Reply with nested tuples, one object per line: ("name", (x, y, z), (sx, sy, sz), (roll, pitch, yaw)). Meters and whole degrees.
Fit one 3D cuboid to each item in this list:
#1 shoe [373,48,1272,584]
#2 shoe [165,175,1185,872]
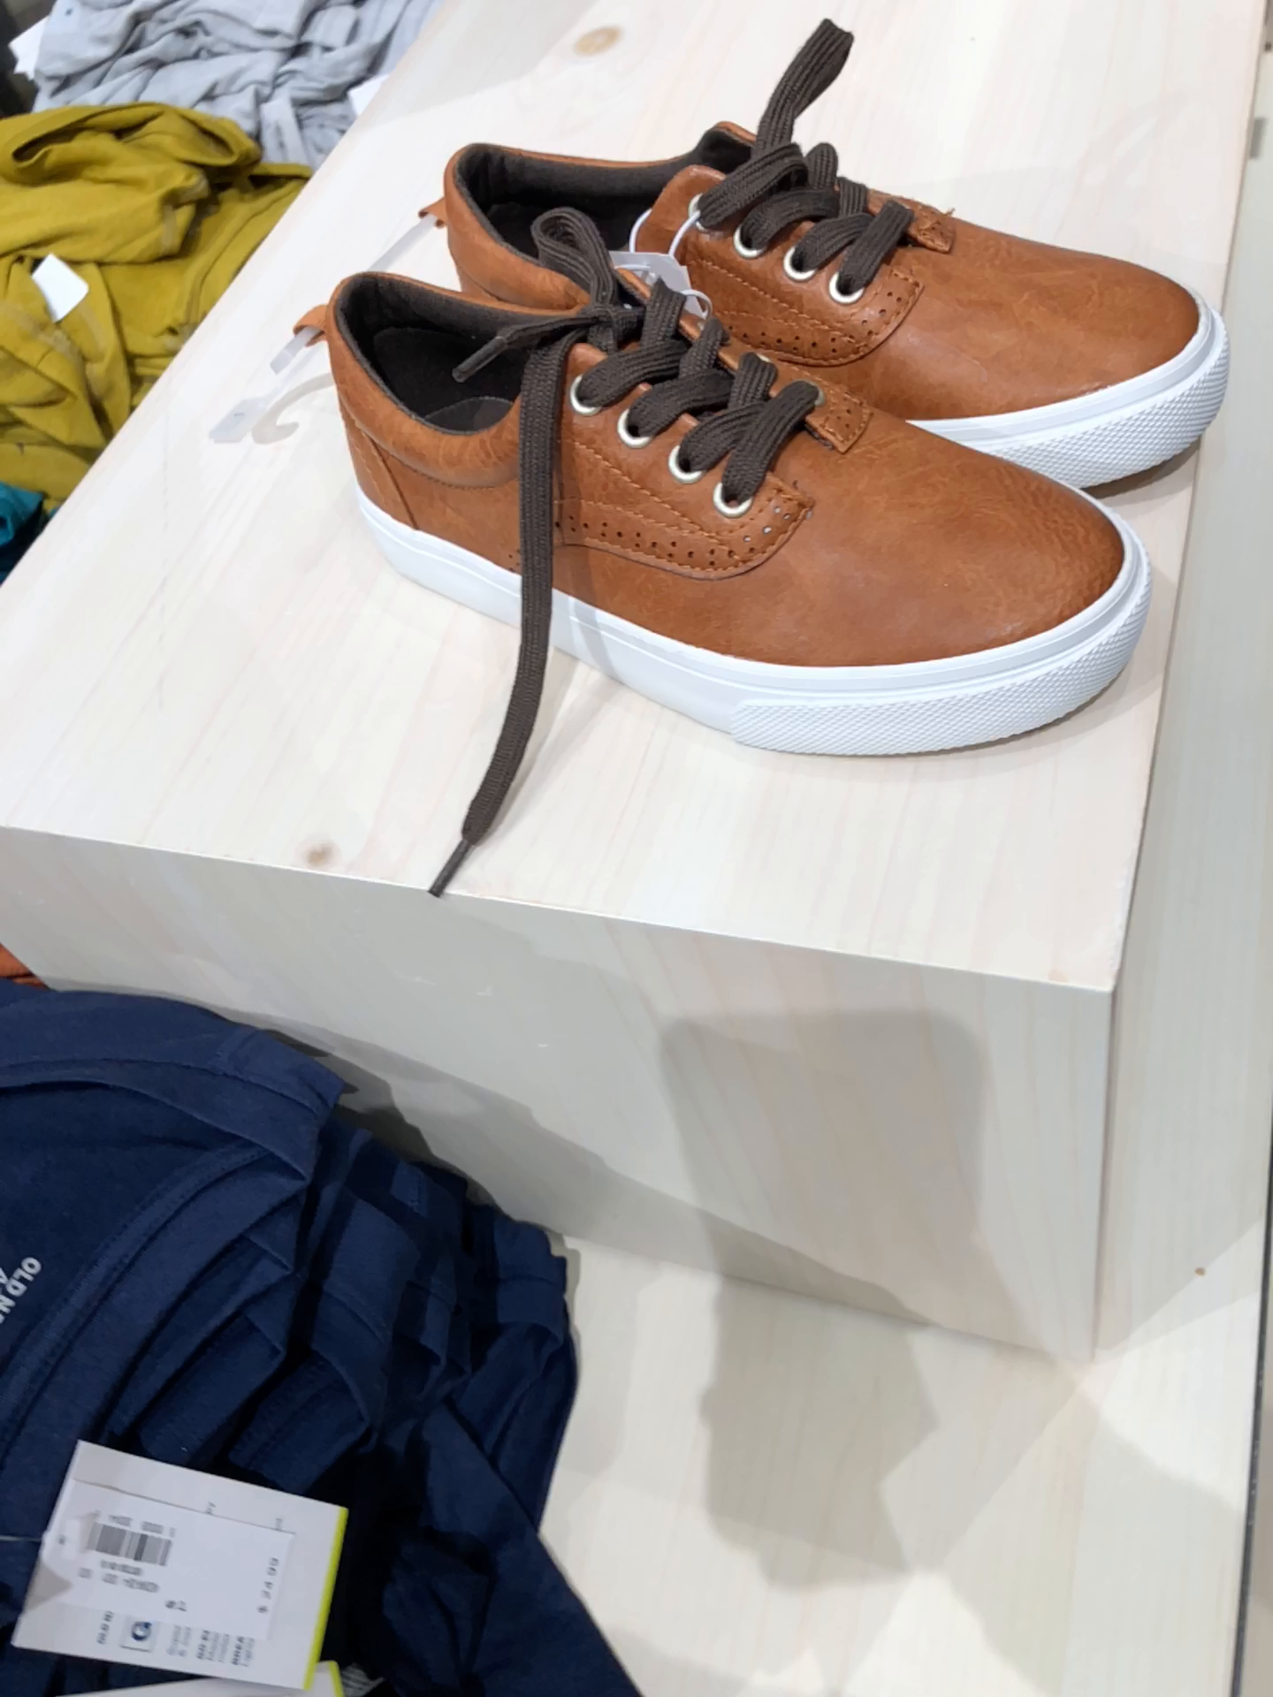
("shoe", (0.049, -0.150, 0.379), (0.210, 0.080, 0.090), (18, 61, 28))
("shoe", (0.006, -0.090, 0.352), (0.221, 0.090, 0.090), (22, 63, 30))
